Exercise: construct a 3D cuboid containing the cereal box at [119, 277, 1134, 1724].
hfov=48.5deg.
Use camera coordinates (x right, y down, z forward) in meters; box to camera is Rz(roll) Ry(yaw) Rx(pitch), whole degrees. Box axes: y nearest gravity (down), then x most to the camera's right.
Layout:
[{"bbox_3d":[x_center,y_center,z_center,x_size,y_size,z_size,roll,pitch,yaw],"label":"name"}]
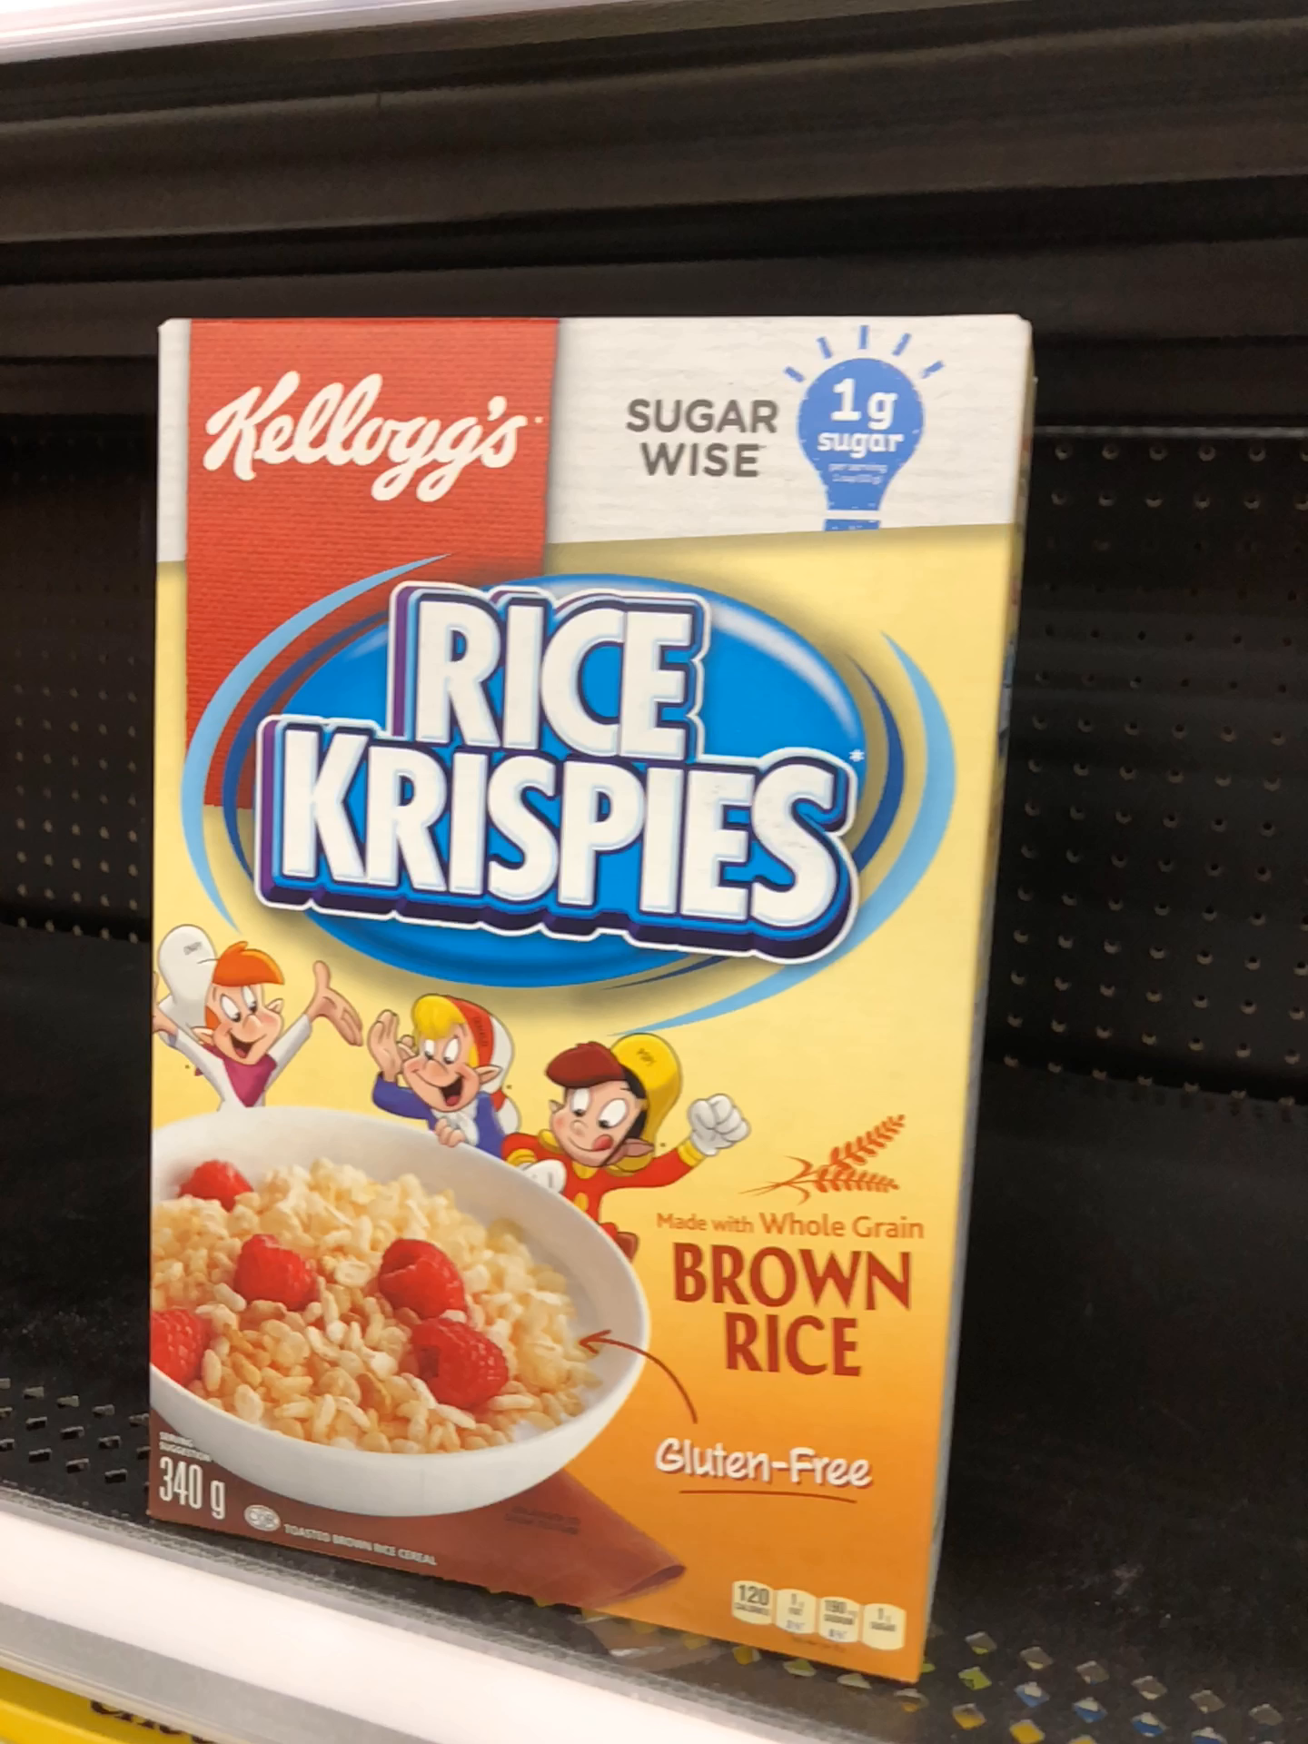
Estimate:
[{"bbox_3d":[-0.014,0.022,0.338,0.210,0.289,0.060,5,9,14],"label":"cereal box"}]
